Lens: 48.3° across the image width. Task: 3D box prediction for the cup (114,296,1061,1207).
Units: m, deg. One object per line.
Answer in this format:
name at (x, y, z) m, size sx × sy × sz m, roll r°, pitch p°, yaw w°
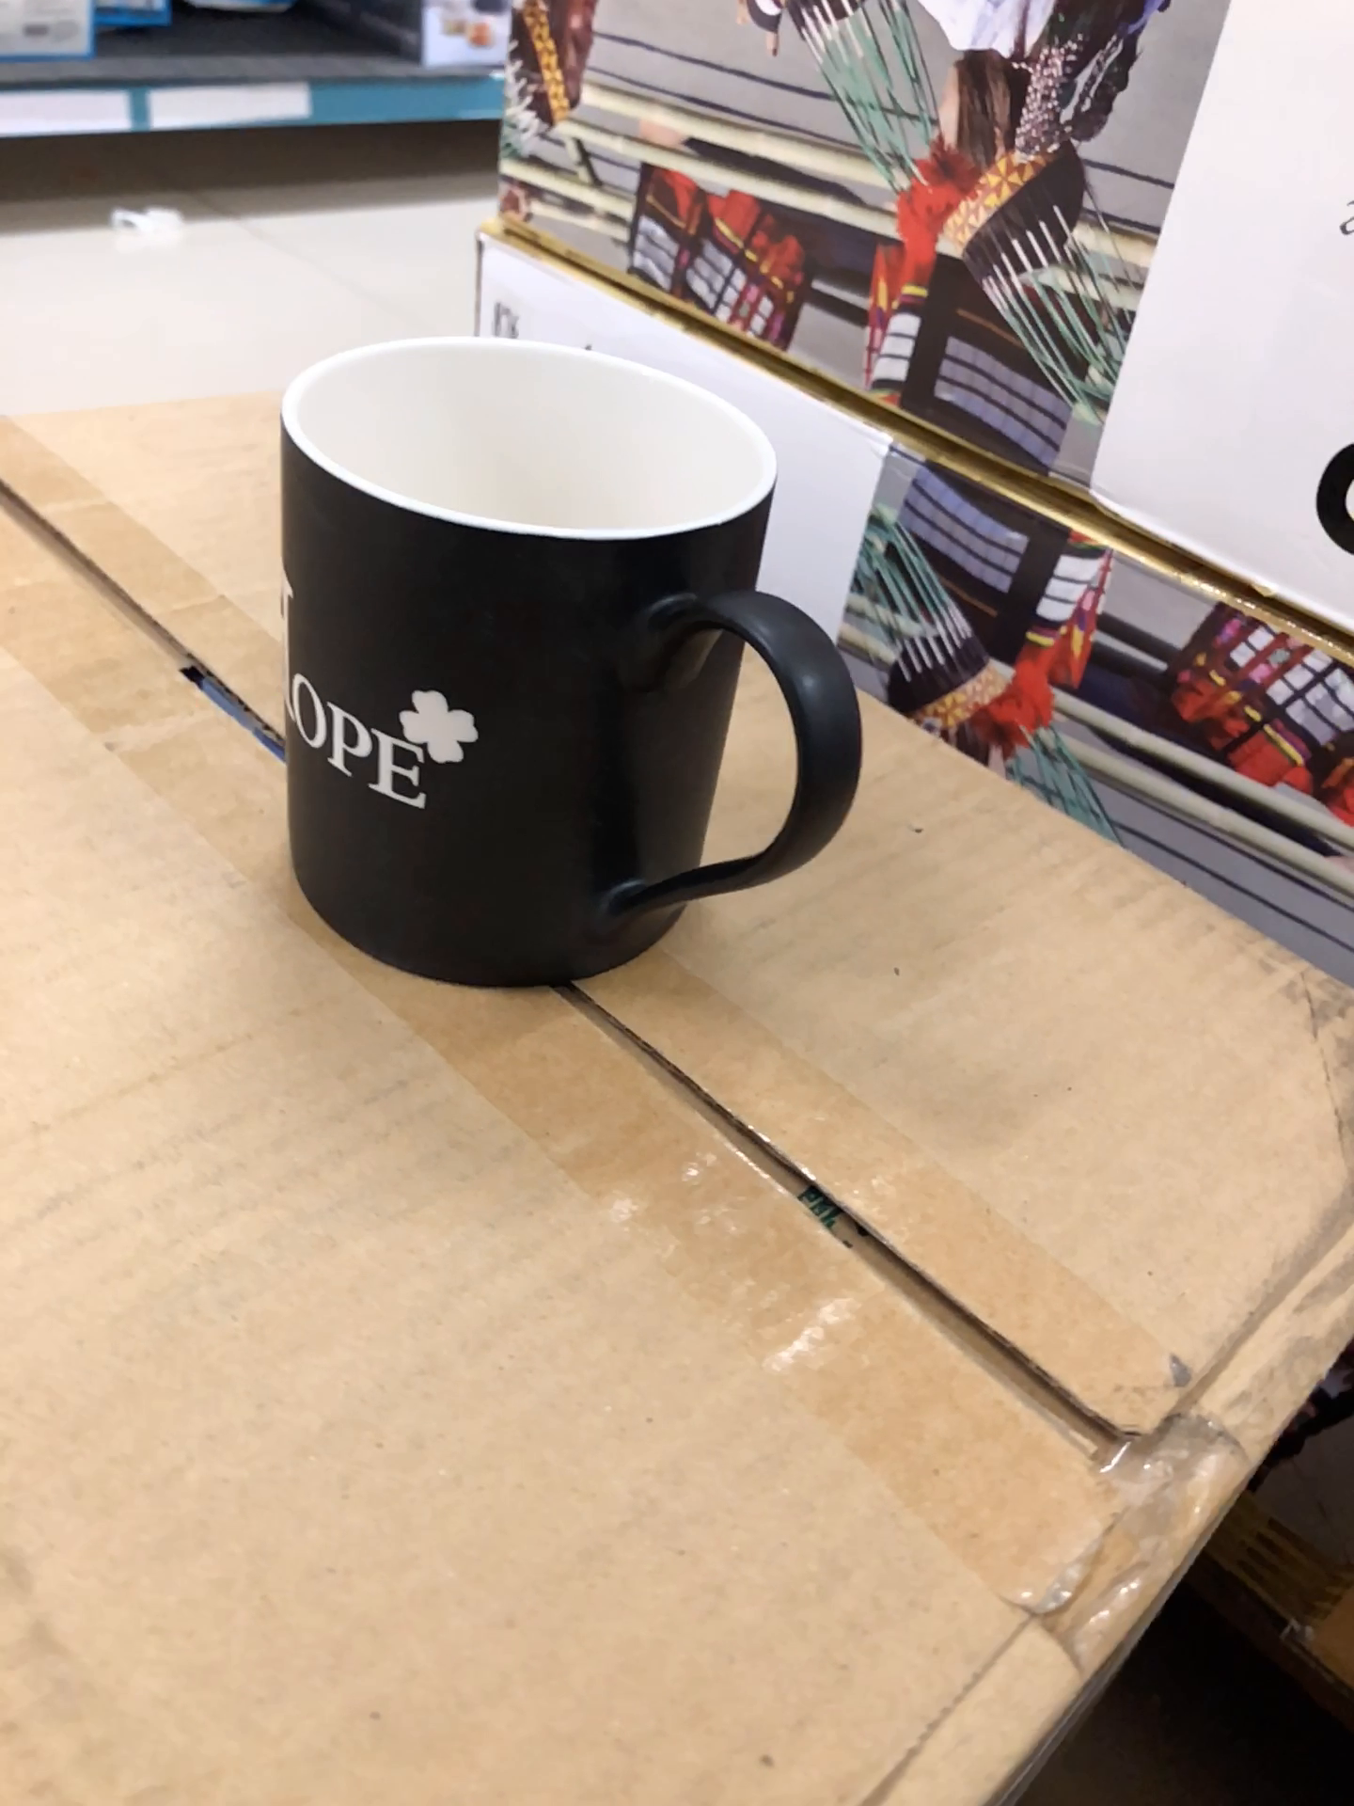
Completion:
cup at (-0.020, -0.035, 0.263) m, size 0.120 × 0.089 × 0.091 m, roll 35°, pitch 44°, yaw 28°
